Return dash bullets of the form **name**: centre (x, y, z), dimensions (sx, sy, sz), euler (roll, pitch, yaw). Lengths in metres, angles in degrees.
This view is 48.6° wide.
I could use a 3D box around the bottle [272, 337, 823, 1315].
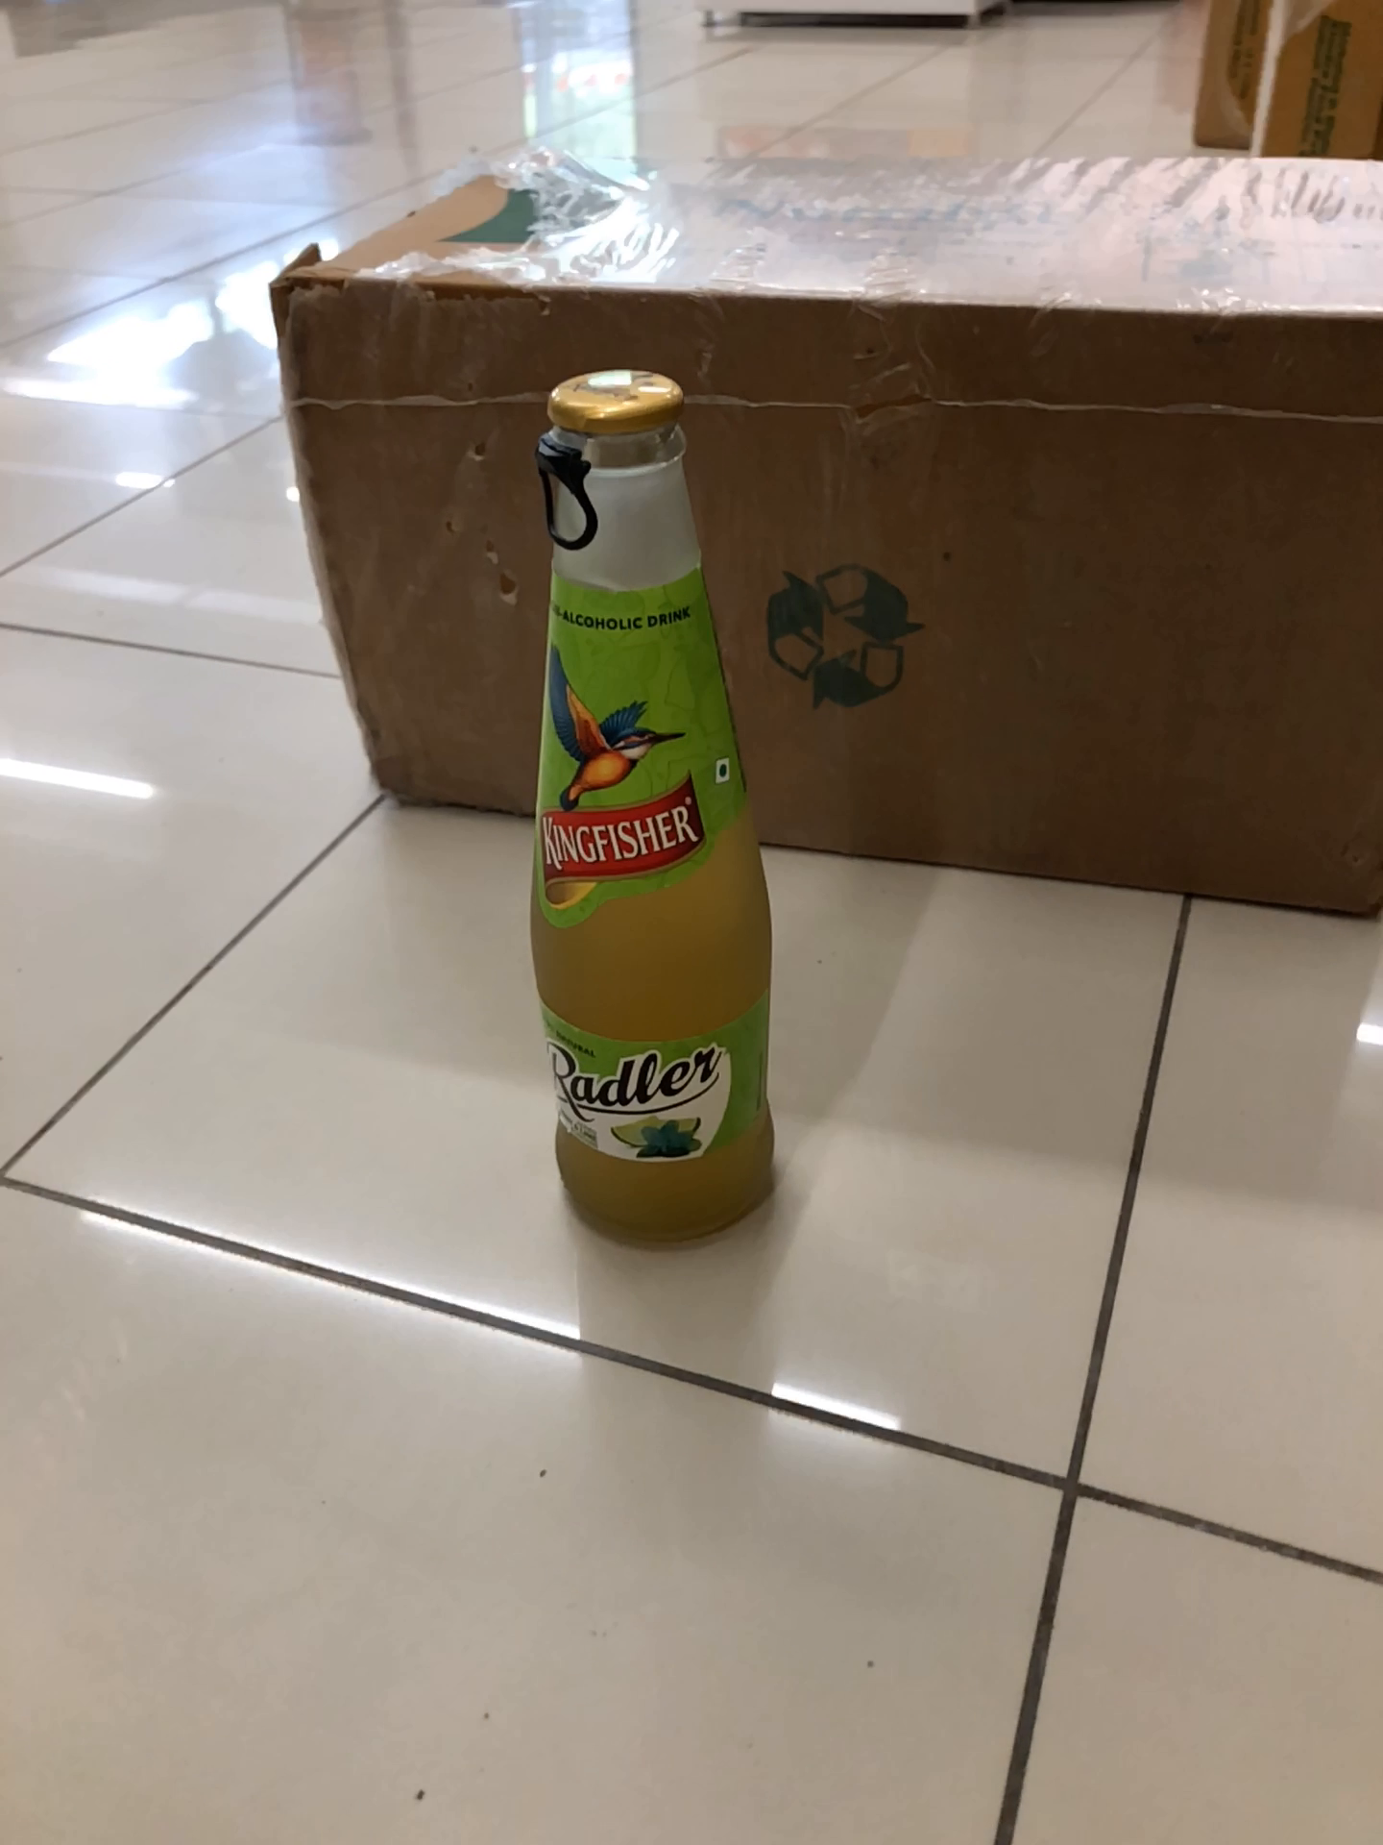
- **bottle**: centre (-0.020, -0.017, 0.347), dimensions (0.080, 0.199, 0.081), euler (-2, 35, 1)
